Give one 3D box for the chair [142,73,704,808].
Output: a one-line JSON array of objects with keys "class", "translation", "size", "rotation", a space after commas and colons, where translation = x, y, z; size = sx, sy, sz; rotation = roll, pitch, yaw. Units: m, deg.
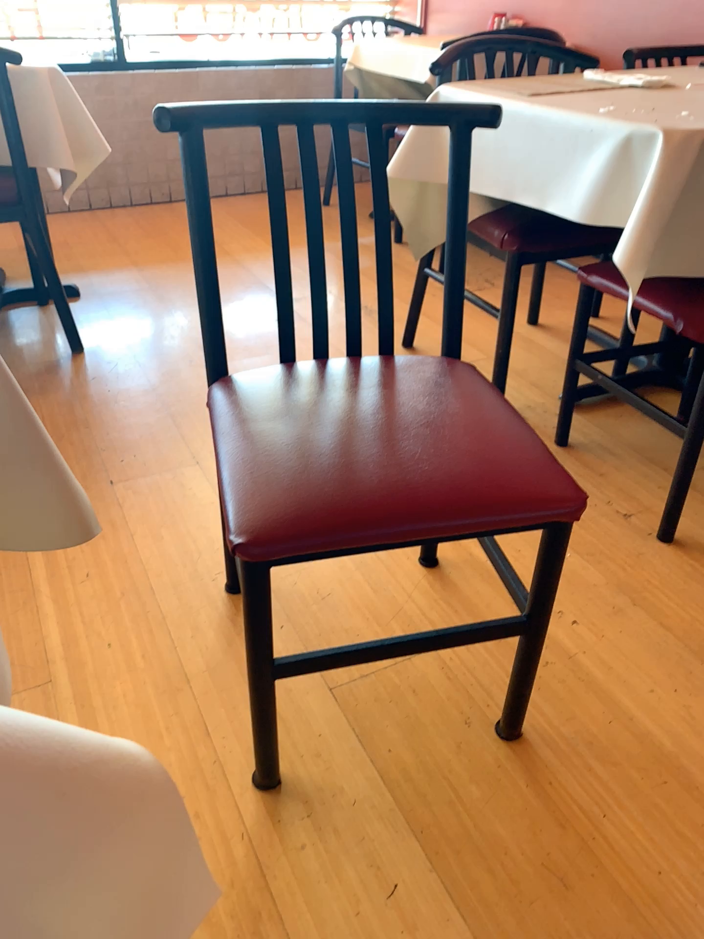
[{"class": "chair", "translation": [0.013, -0.078, 0.955], "size": [0.480, 0.726, 0.573], "rotation": [-6, 34, -14]}]
